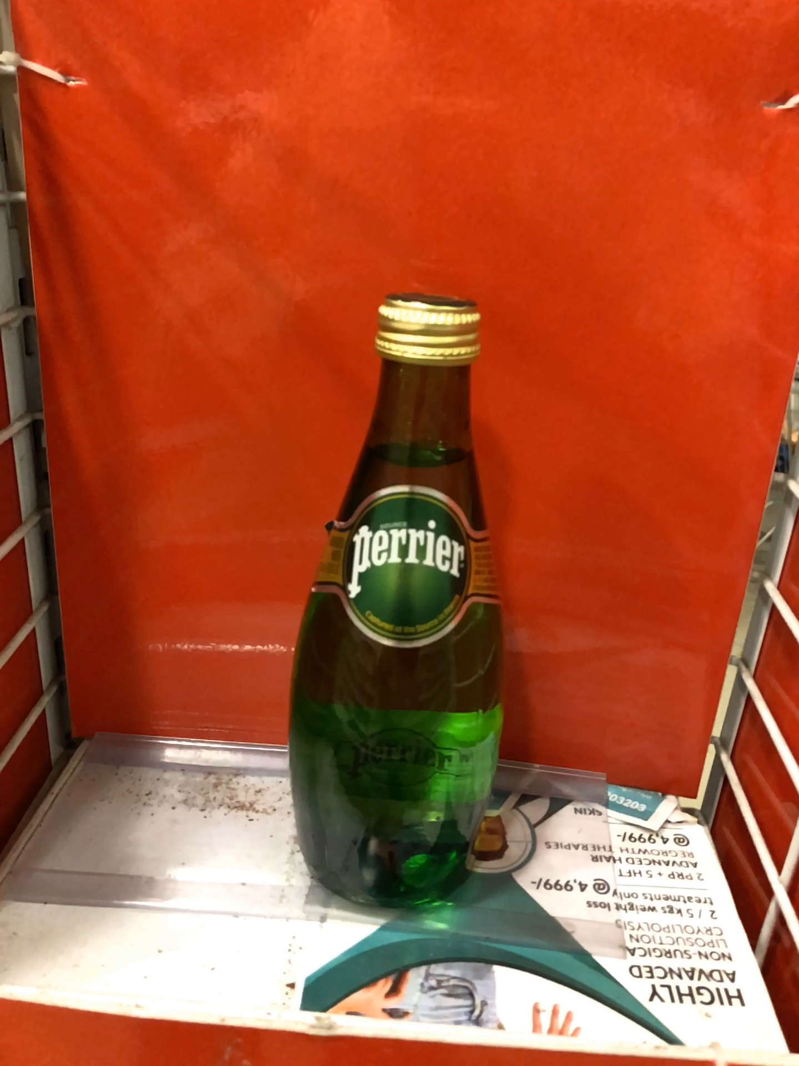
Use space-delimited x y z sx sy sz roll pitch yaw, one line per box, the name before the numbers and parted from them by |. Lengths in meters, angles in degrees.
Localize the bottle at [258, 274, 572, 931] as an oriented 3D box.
bottle | 0.000 0.023 0.259 0.070 0.179 0.060 4 23 2
